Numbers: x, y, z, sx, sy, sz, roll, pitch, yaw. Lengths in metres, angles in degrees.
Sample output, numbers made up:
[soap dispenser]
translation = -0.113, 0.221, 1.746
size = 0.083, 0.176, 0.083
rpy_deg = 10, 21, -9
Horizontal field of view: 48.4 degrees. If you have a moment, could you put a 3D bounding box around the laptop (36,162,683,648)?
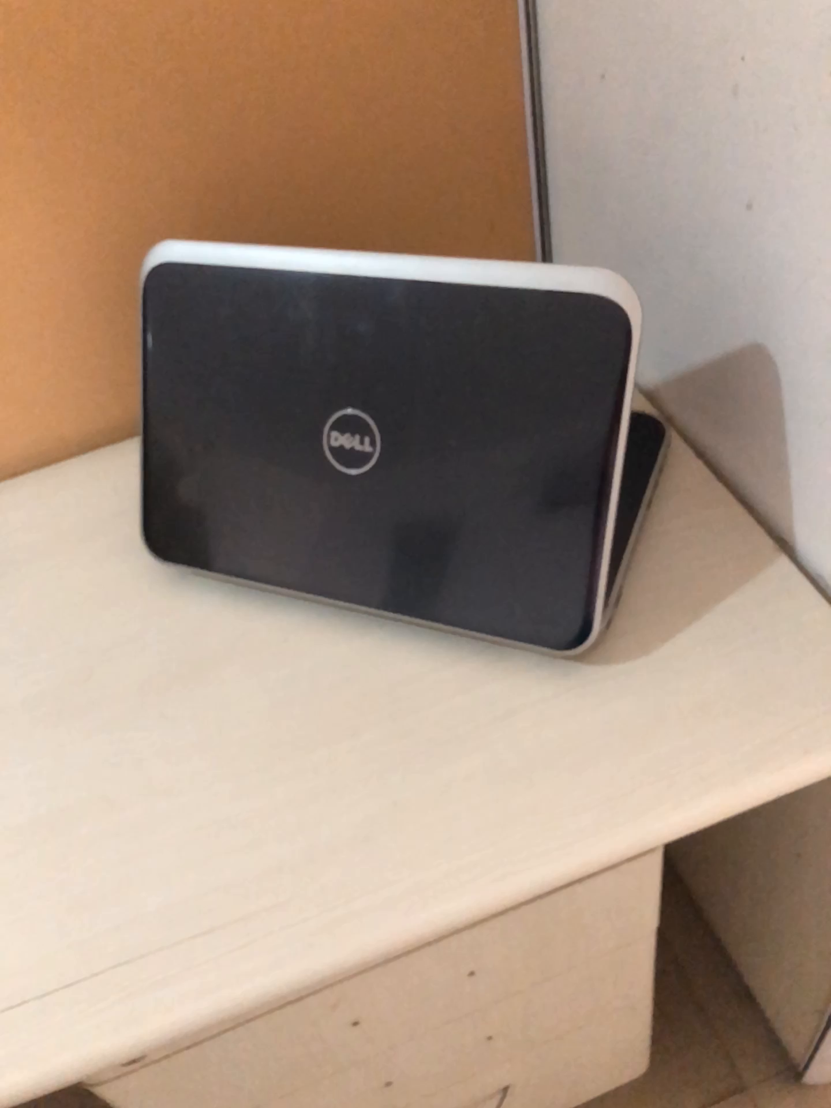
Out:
[laptop]
translation = -0.018, -0.124, 0.664
size = 0.348, 0.192, 0.241
rpy_deg = 12, 50, 21
